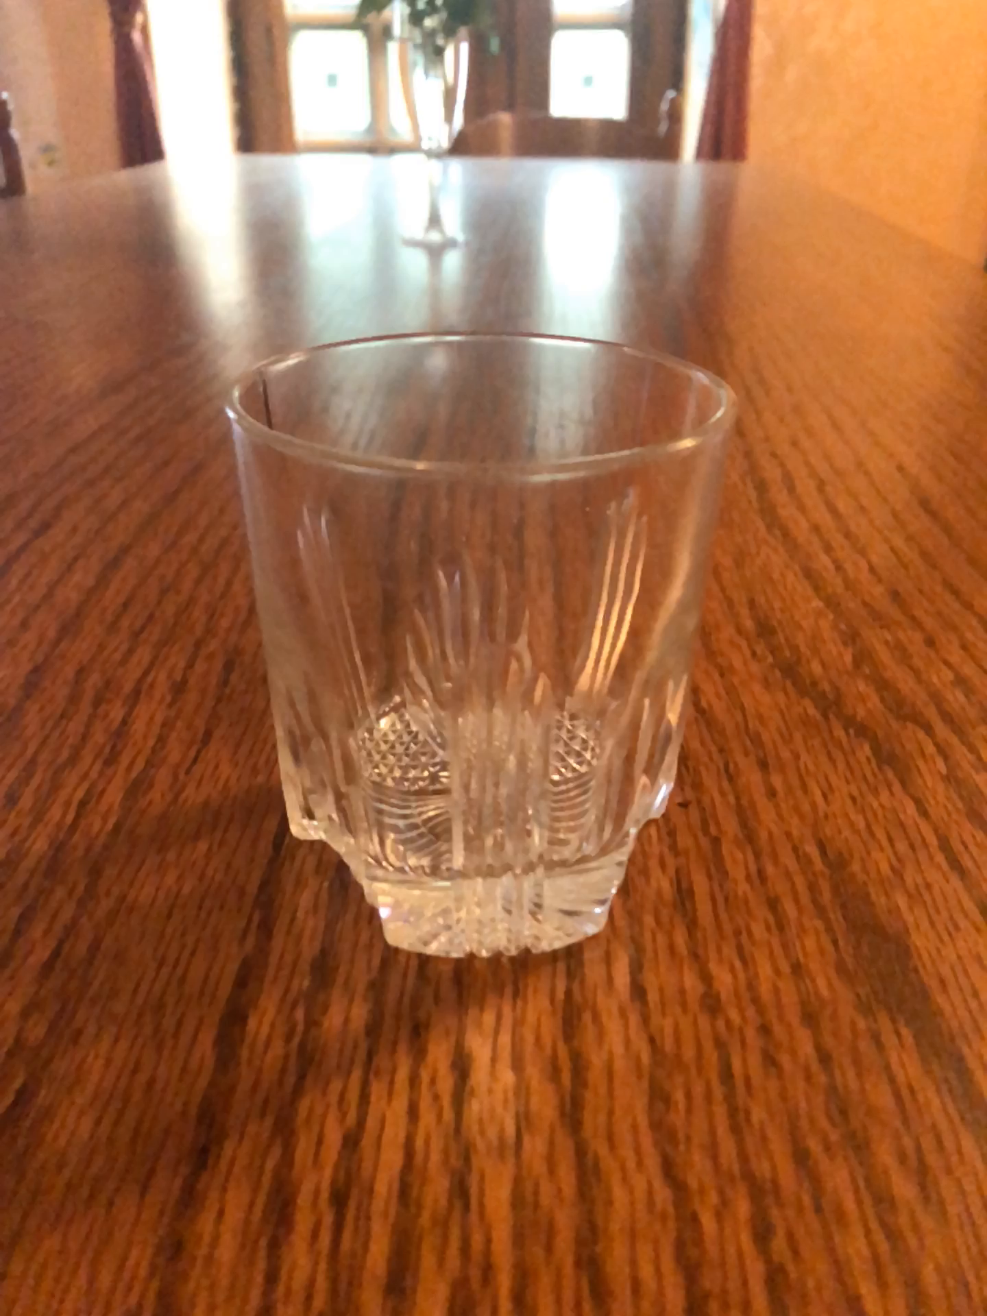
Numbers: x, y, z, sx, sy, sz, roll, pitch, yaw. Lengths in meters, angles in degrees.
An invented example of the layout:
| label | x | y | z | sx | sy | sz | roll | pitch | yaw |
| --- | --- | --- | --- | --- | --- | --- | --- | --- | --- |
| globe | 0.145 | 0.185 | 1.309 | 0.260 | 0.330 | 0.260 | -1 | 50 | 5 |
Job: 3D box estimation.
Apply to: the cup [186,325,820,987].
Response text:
| label | x | y | z | sx | sy | sz | roll | pitch | yaw |
| --- | --- | --- | --- | --- | --- | --- | --- | --- | --- |
| cup | -0.002 | -0.007 | 0.194 | 0.080 | 0.084 | 0.085 | 0 | 28 | 0 |
